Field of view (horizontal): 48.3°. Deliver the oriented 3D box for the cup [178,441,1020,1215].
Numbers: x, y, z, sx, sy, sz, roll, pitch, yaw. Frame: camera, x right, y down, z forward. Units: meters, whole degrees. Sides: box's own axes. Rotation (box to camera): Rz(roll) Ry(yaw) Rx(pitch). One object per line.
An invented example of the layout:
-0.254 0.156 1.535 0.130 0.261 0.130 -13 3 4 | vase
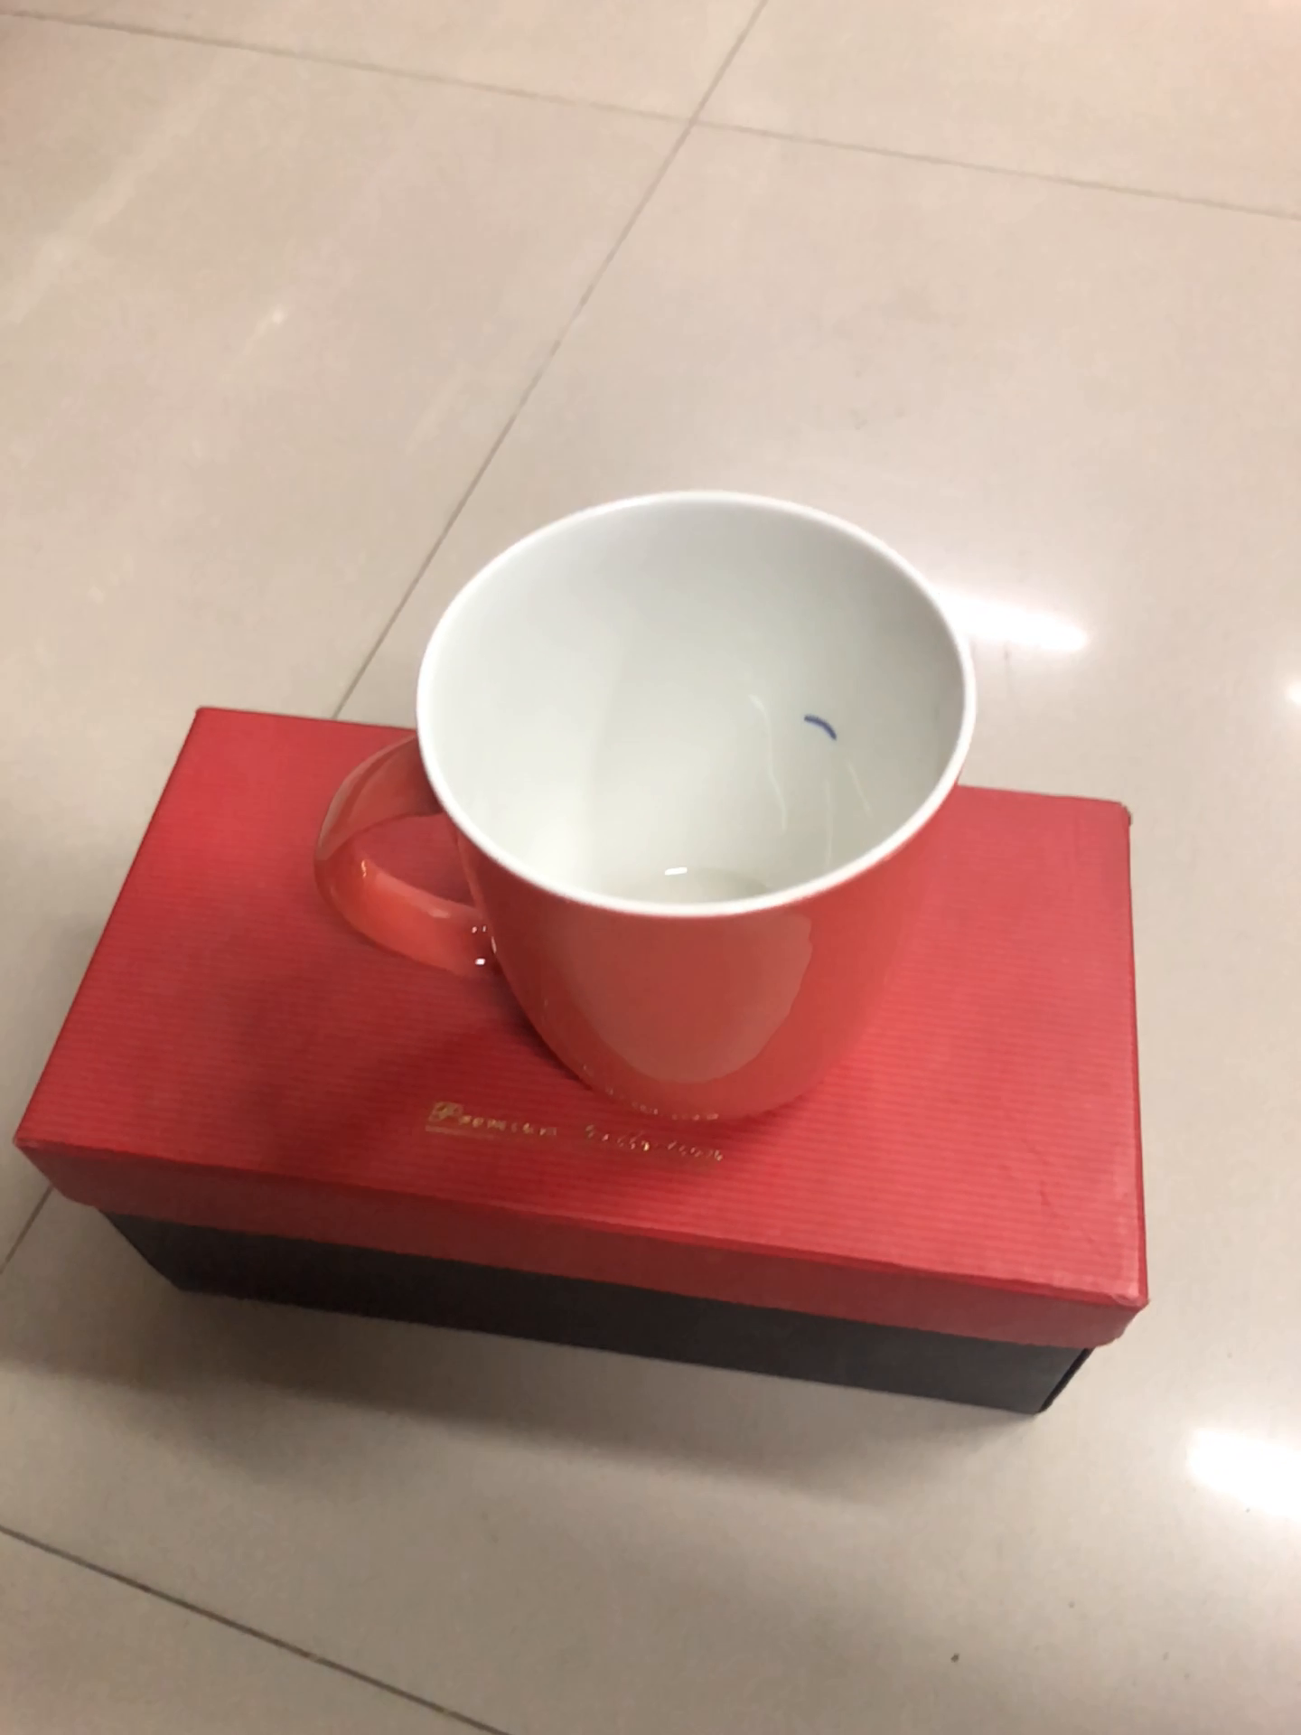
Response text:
-0.002 -0.005 0.250 0.110 0.090 0.090 4 56 5 | cup
